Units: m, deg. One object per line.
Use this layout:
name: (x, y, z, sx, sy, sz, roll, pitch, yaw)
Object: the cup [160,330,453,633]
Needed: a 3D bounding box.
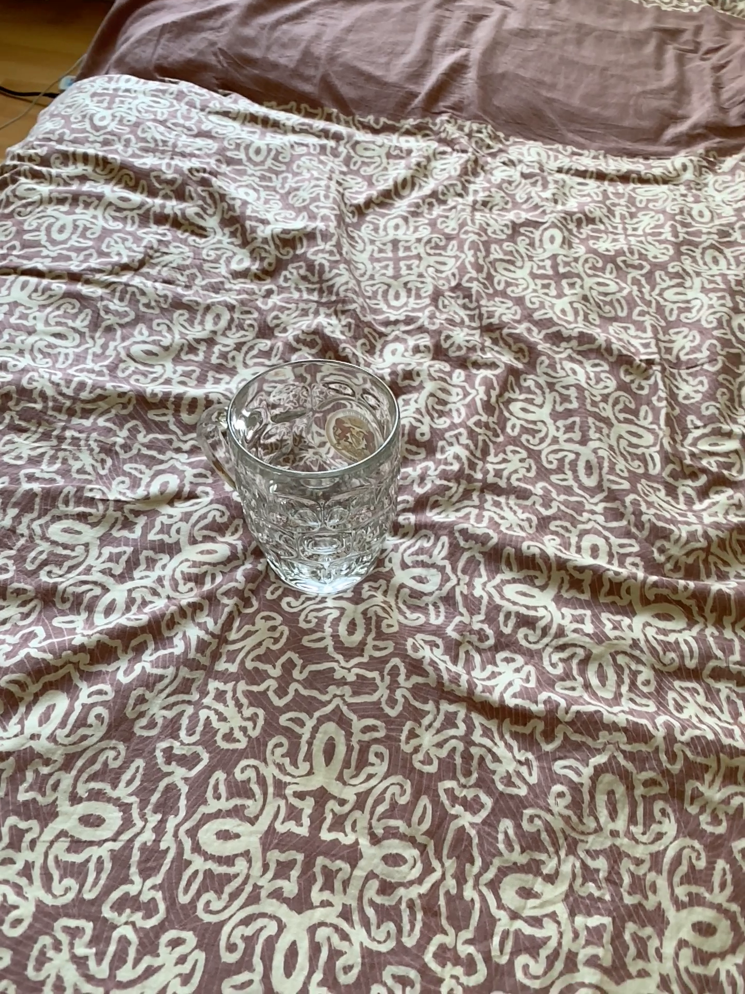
cup: (-0.031, -0.010, 0.421, 0.117, 0.099, 0.093, 20, 51, 16)
